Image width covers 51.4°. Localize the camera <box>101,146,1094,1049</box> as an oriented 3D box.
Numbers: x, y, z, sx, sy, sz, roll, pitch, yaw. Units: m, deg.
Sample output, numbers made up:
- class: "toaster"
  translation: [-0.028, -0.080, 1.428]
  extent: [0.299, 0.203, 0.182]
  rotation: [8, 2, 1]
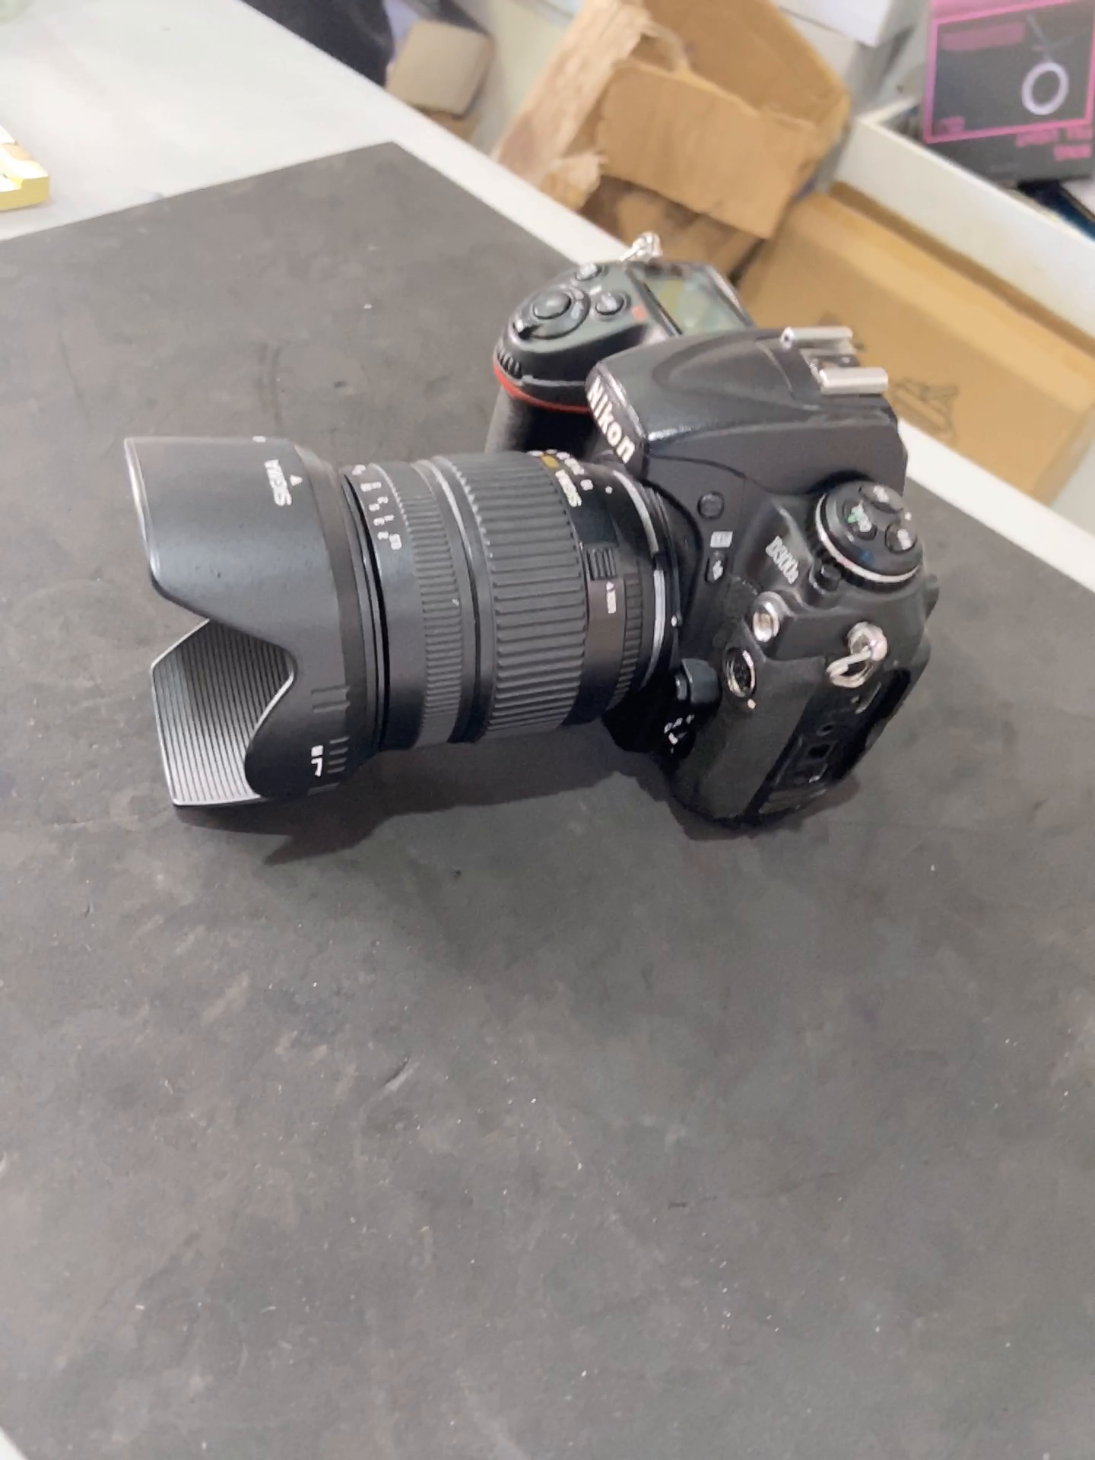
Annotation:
- class: "camera"
  translation: [-0.004, -0.042, 0.282]
  extent: [0.180, 0.109, 0.171]
  rotation: [-6, 52, -22]
